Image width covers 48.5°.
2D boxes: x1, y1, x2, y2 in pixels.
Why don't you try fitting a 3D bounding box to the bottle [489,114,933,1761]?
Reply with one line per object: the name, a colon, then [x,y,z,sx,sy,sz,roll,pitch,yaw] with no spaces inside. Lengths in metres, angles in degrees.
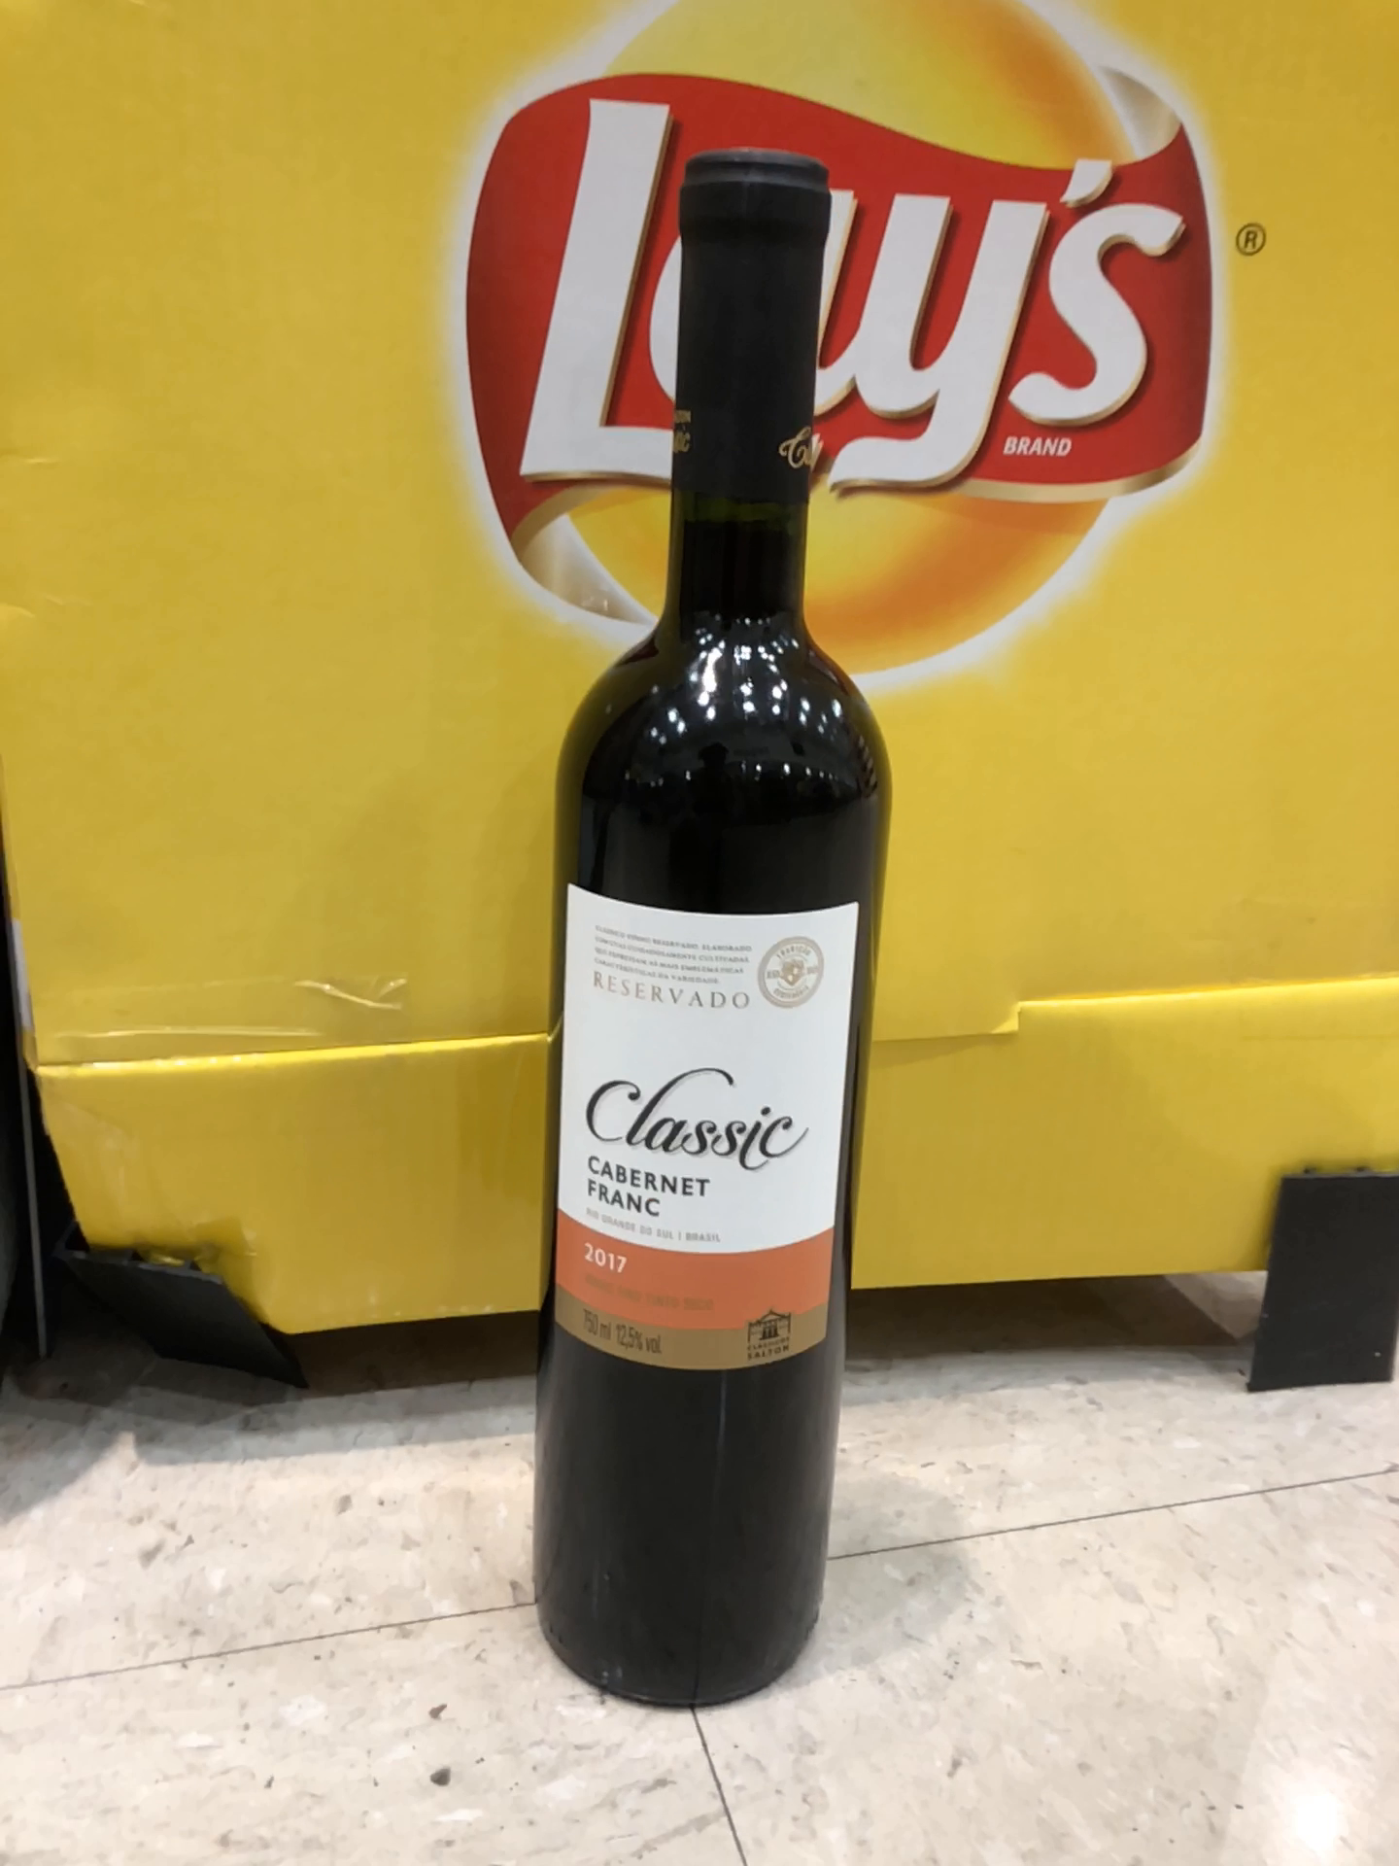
bottle: [-0.001,0.014,0.321,0.070,0.318,0.060,5,17,8]
